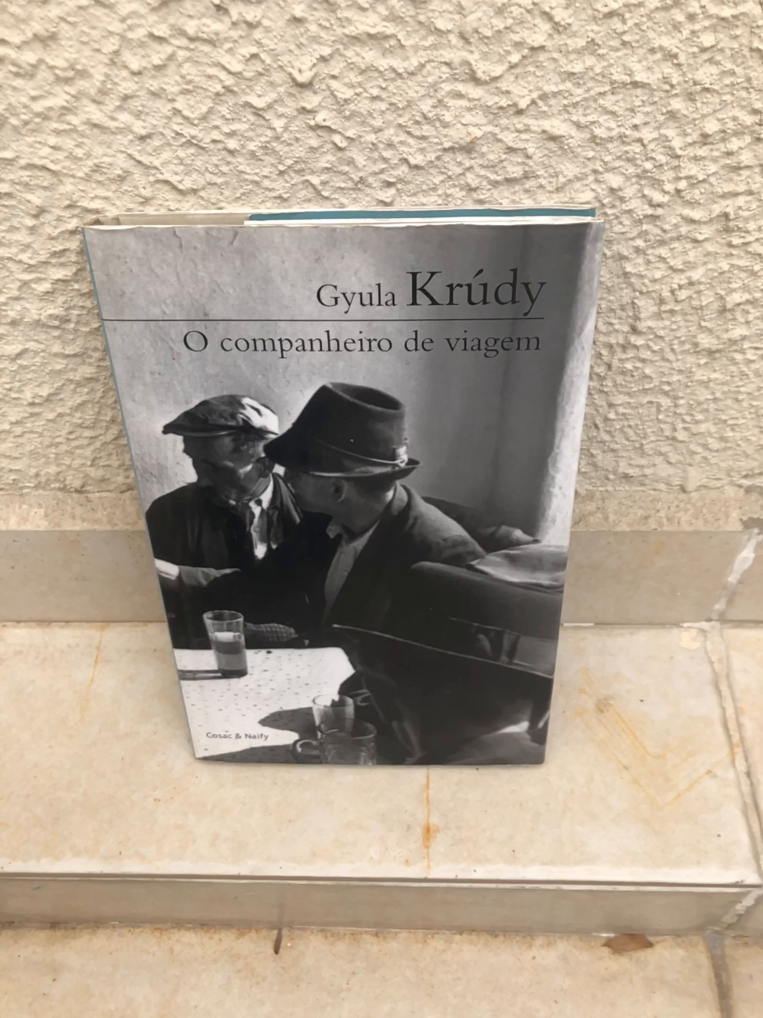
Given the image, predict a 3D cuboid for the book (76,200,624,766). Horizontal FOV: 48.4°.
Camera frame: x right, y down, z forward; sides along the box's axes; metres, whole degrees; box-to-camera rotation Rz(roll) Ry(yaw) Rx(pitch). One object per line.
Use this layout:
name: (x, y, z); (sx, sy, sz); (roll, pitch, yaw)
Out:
book: (-0.006, 0.008, 0.277); (0.137, 0.205, 0.019); (0, 34, 2)
